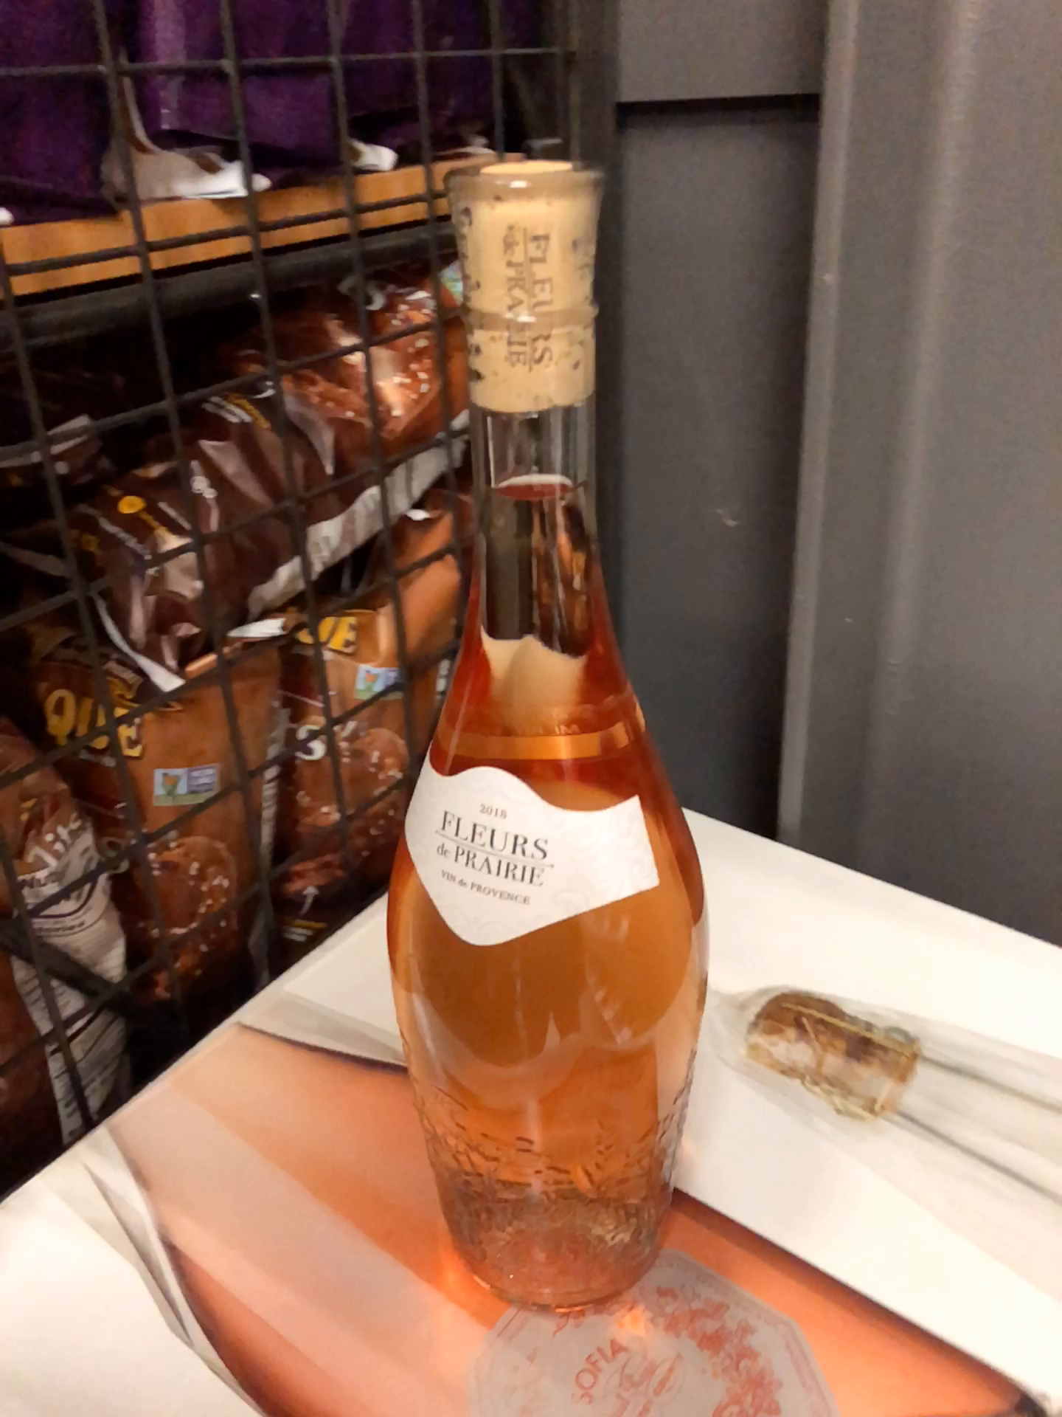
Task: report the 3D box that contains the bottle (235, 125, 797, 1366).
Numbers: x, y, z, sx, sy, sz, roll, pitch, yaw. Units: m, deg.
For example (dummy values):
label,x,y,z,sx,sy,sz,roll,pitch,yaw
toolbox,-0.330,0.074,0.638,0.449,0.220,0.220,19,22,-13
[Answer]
label,x,y,z,sx,sy,sz,roll,pitch,yaw
bottle,0.009,0.020,0.303,0.080,0.299,0.090,11,30,24
